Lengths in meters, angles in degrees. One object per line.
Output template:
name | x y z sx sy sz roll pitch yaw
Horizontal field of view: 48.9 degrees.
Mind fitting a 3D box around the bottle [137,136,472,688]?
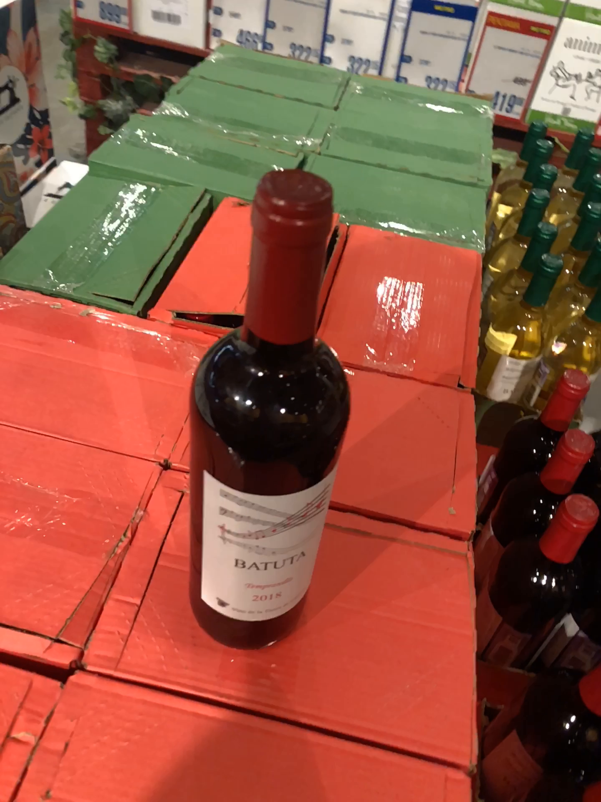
bottle | -0.019 0.031 0.321 0.090 0.287 0.080 -10 49 -19
